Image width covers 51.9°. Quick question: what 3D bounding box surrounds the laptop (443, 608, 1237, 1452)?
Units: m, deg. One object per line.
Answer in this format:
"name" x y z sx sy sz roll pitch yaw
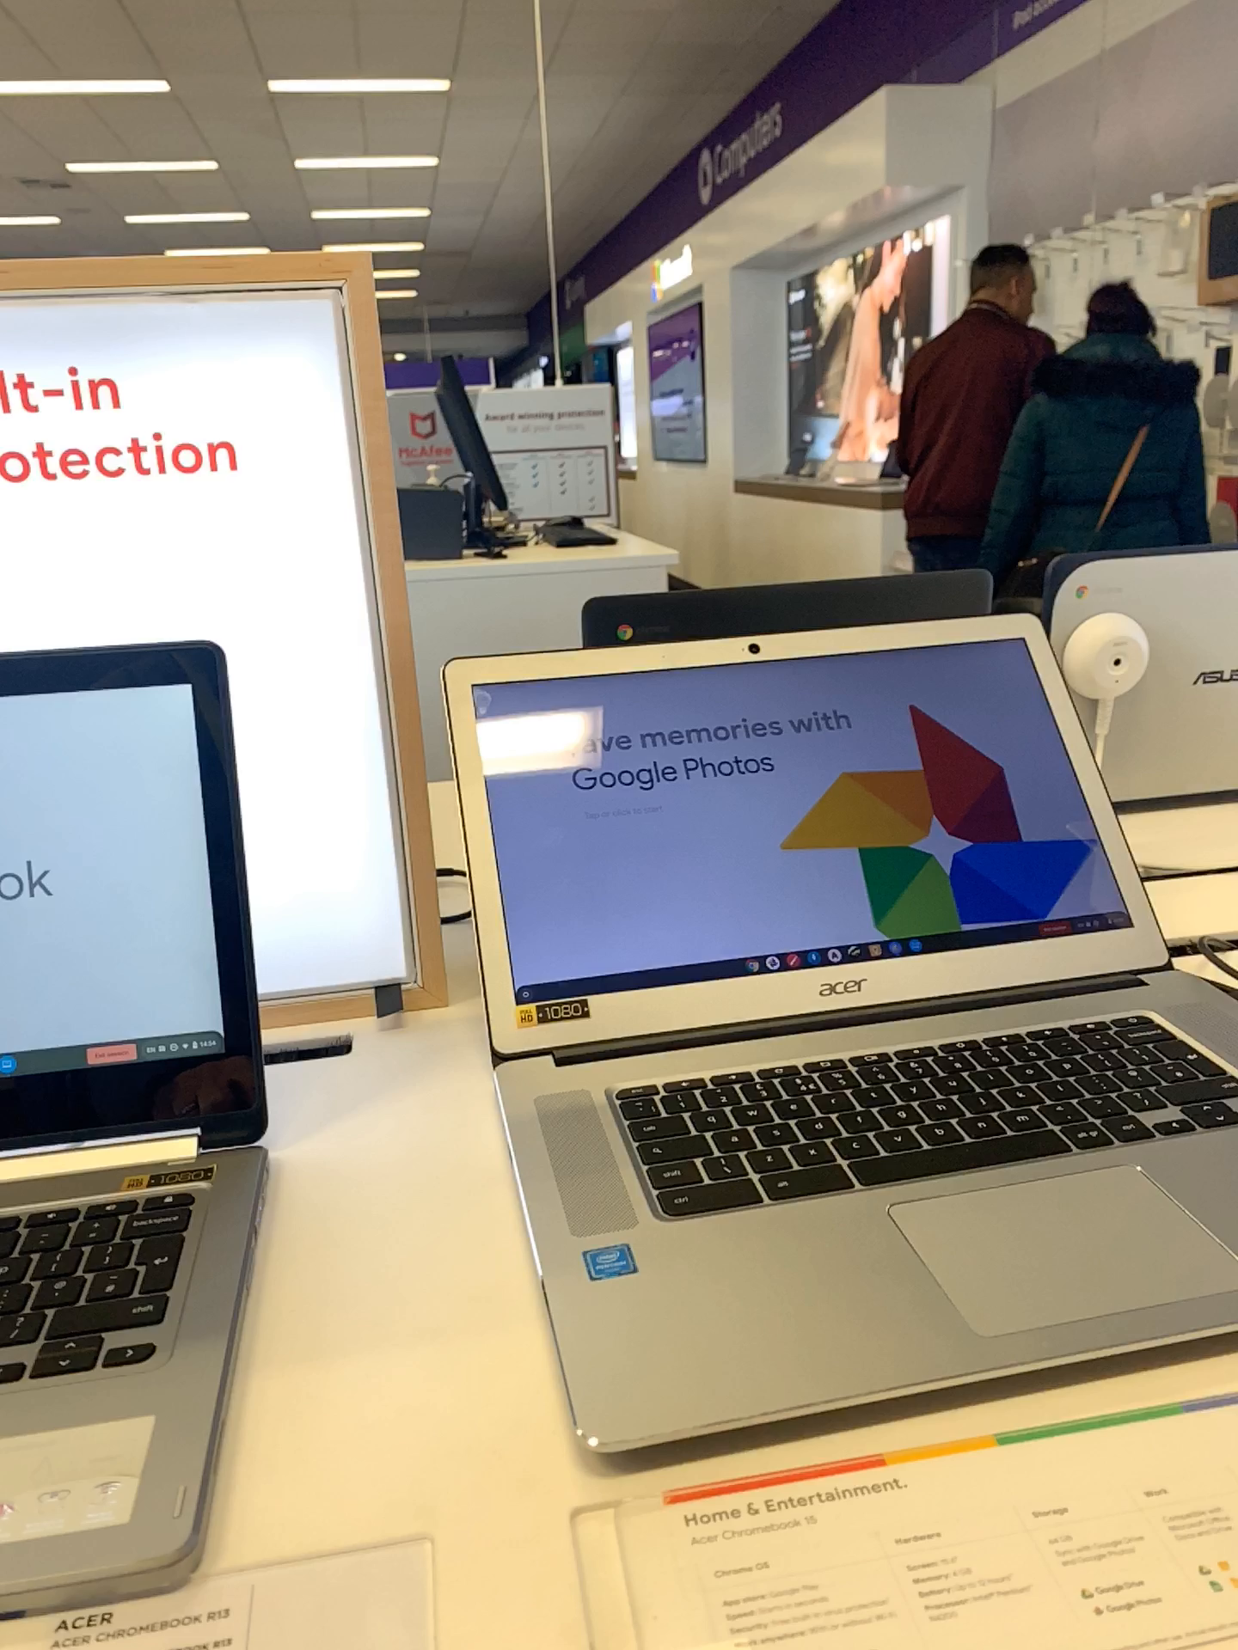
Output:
"laptop" 0.127 0.026 0.603 0.376 0.175 0.427 -6 18 -11

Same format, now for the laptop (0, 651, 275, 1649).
"laptop" -0.302 0.077 0.439 0.307 0.216 0.279 -5 16 -10
